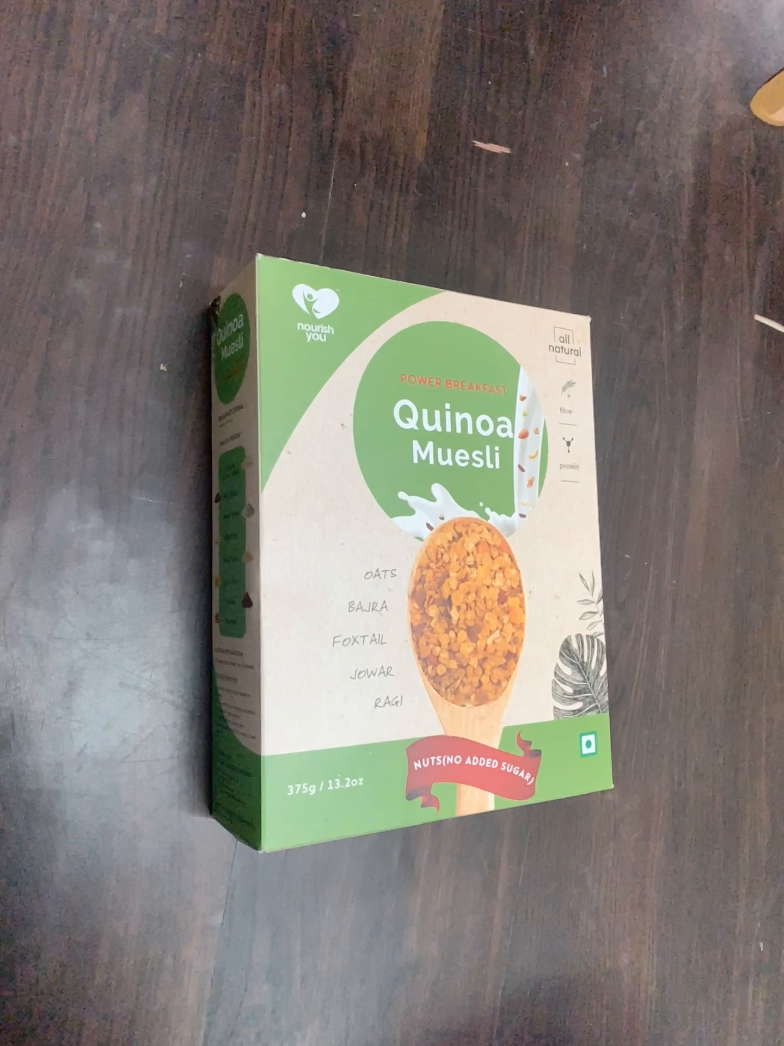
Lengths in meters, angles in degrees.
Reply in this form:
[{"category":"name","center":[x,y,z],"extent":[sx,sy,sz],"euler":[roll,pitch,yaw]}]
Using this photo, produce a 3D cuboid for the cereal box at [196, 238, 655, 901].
[{"category":"cereal box","center":[0.015,0.016,0.327],"extent":[0.171,0.070,0.210],"euler":[1,86,-28]}]
